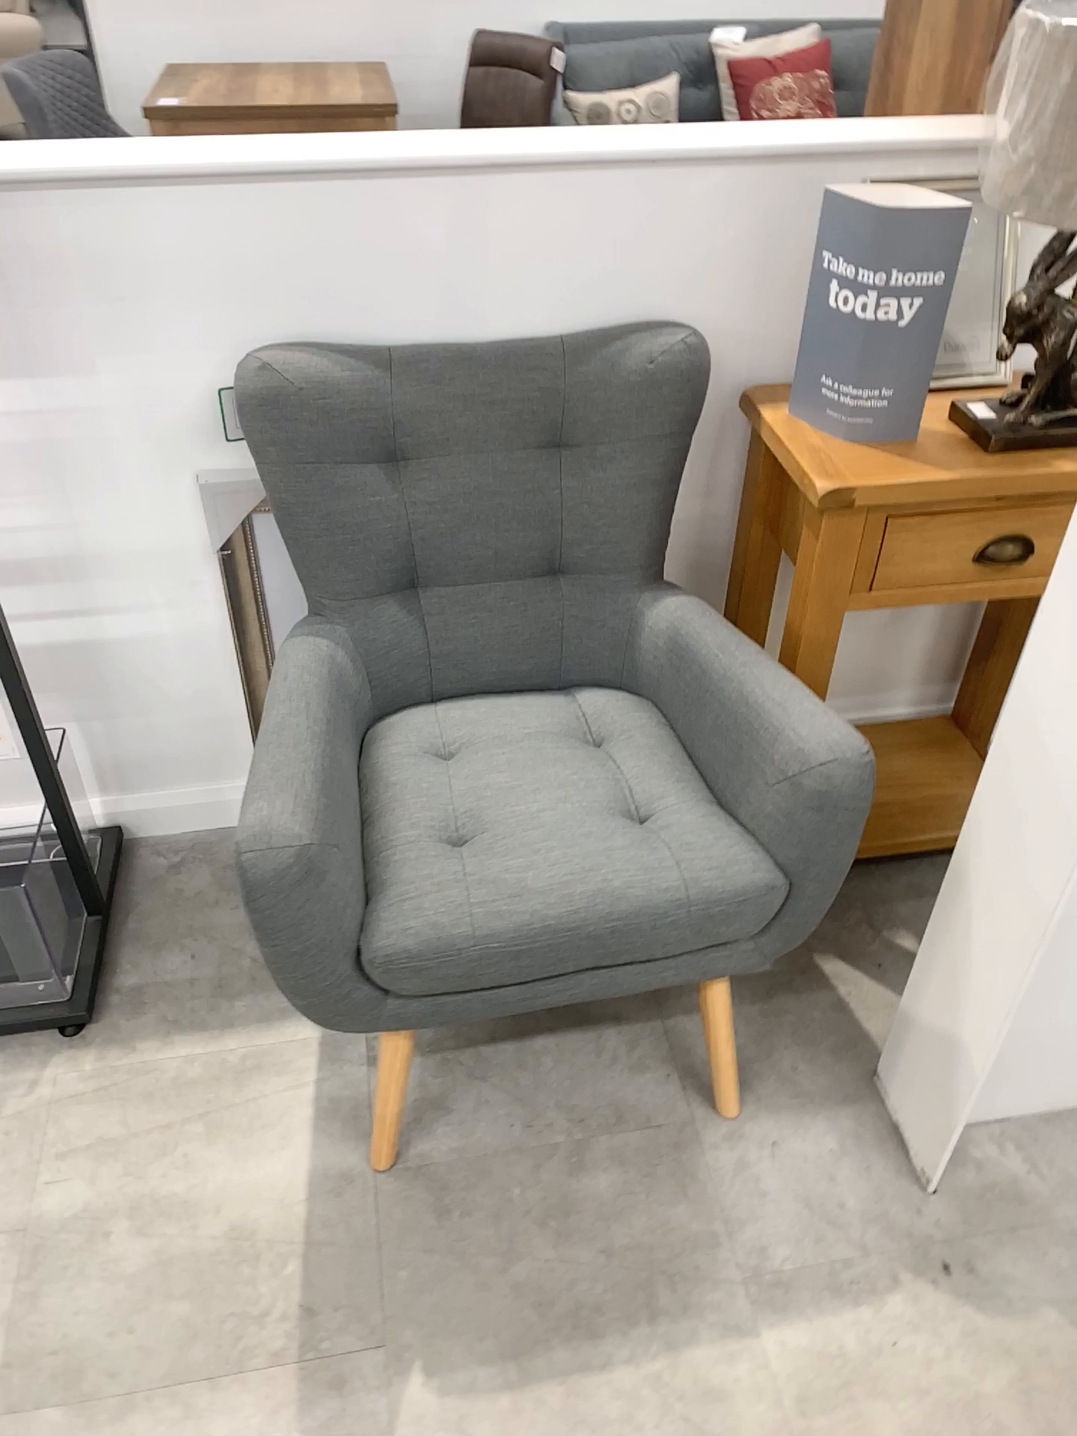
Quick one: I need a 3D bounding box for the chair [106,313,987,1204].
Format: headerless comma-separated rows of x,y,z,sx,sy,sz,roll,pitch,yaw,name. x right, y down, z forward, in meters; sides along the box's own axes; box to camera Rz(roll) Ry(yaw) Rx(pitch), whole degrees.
-0.025,0.055,1.342,0.708,0.878,0.543,-6,39,-8,chair
